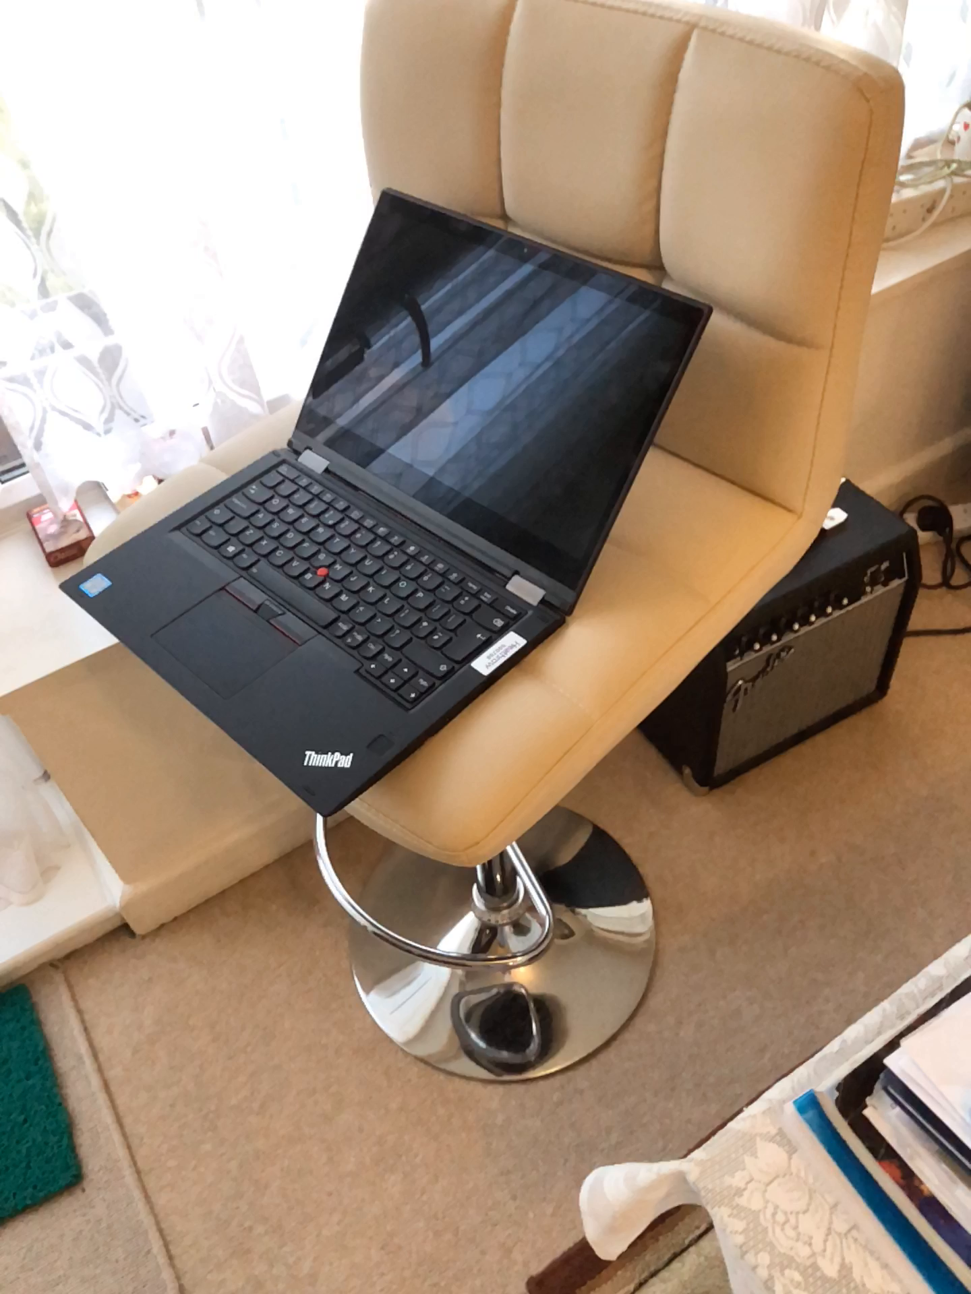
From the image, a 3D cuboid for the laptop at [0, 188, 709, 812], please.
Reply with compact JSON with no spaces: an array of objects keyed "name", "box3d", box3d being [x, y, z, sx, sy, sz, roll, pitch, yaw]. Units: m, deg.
[{"name":"laptop","box3d":[-0.088,-0.132,0.744,0.309,0.165,0.367,33,59,31]}]
